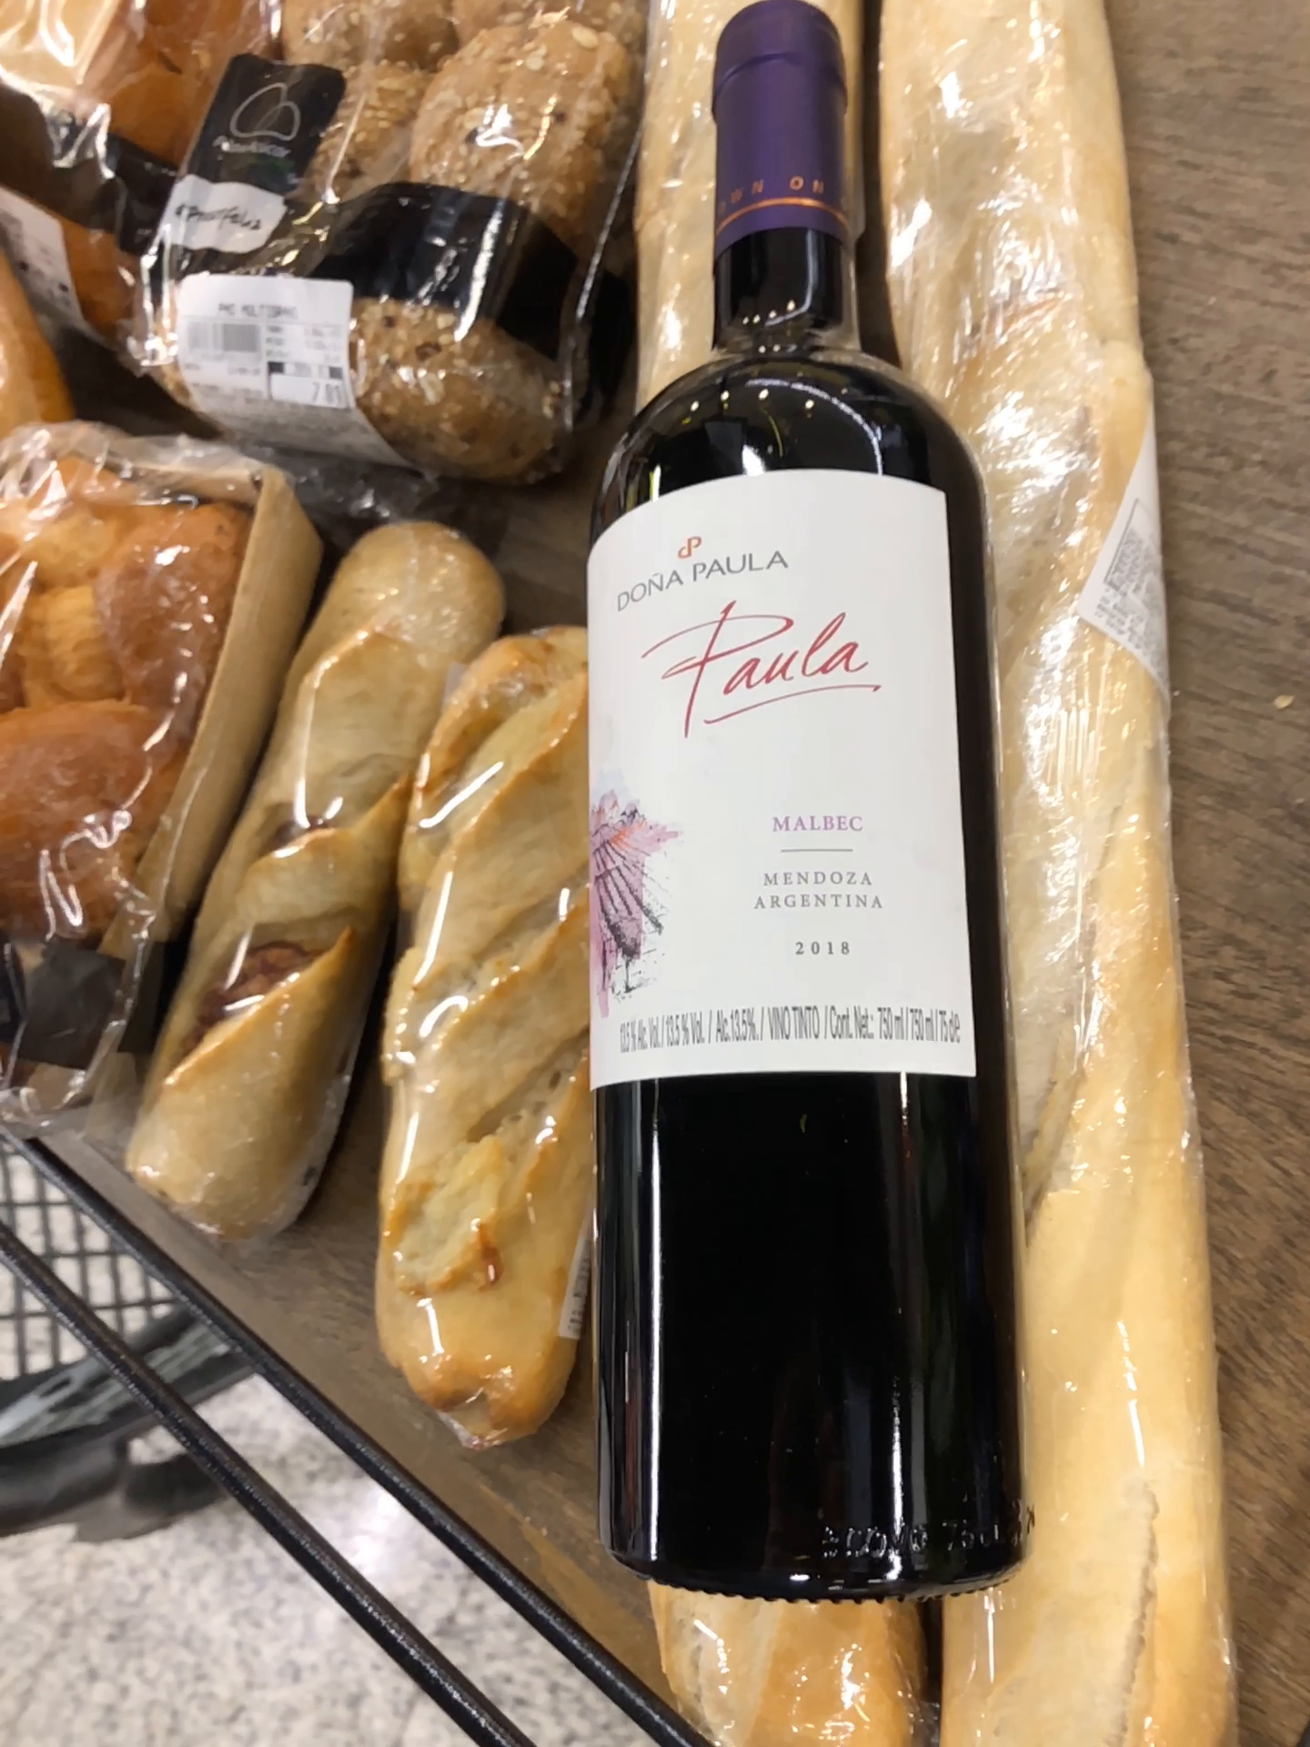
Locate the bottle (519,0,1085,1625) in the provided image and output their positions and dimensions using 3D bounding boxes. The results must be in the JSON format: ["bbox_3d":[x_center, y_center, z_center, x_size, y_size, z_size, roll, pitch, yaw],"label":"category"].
[{"bbox_3d":[0.024,-0.039,0.266,0.070,0.060,0.300,-8,73,26],"label":"bottle"}]
